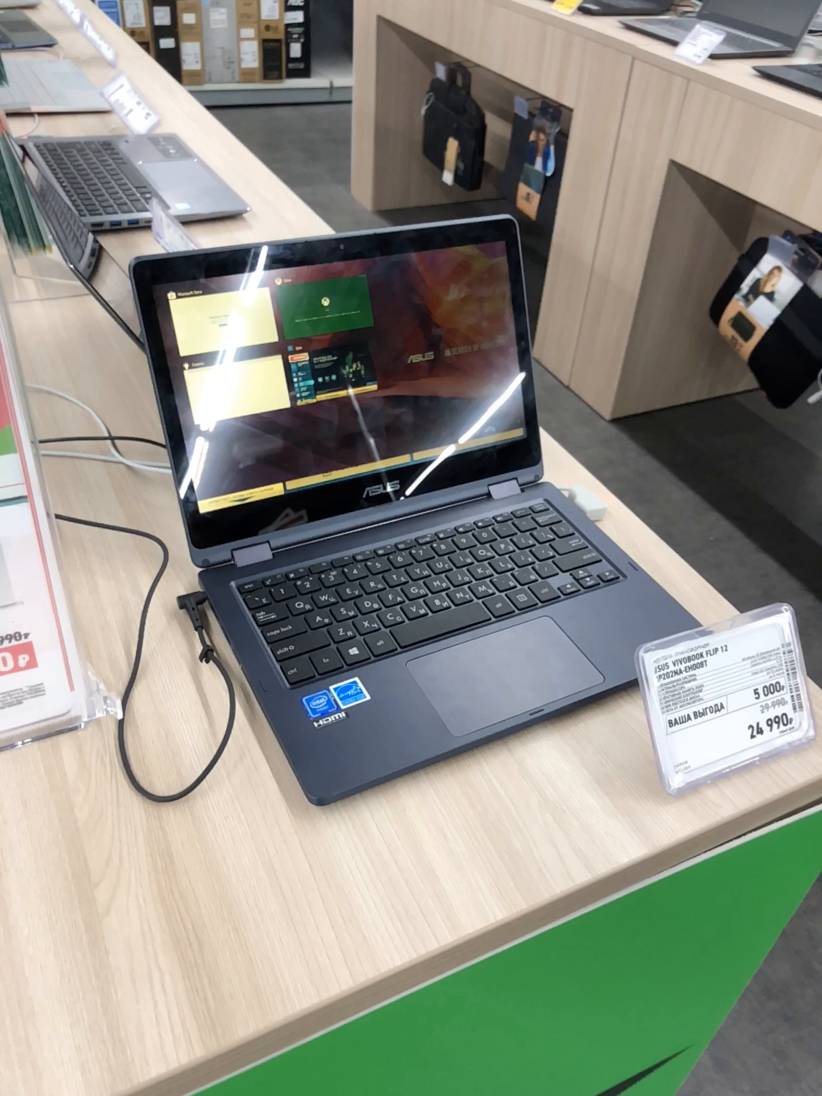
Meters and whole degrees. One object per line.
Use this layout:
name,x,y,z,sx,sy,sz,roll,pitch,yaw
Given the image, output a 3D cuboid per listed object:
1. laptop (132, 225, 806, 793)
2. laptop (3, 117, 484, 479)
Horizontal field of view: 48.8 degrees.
laptop,0.012,-0.055,0.554,0.270,0.166,0.281,-15,43,-25
laptop,-0.141,-0.225,0.743,0.299,0.162,0.262,-14,43,-24
